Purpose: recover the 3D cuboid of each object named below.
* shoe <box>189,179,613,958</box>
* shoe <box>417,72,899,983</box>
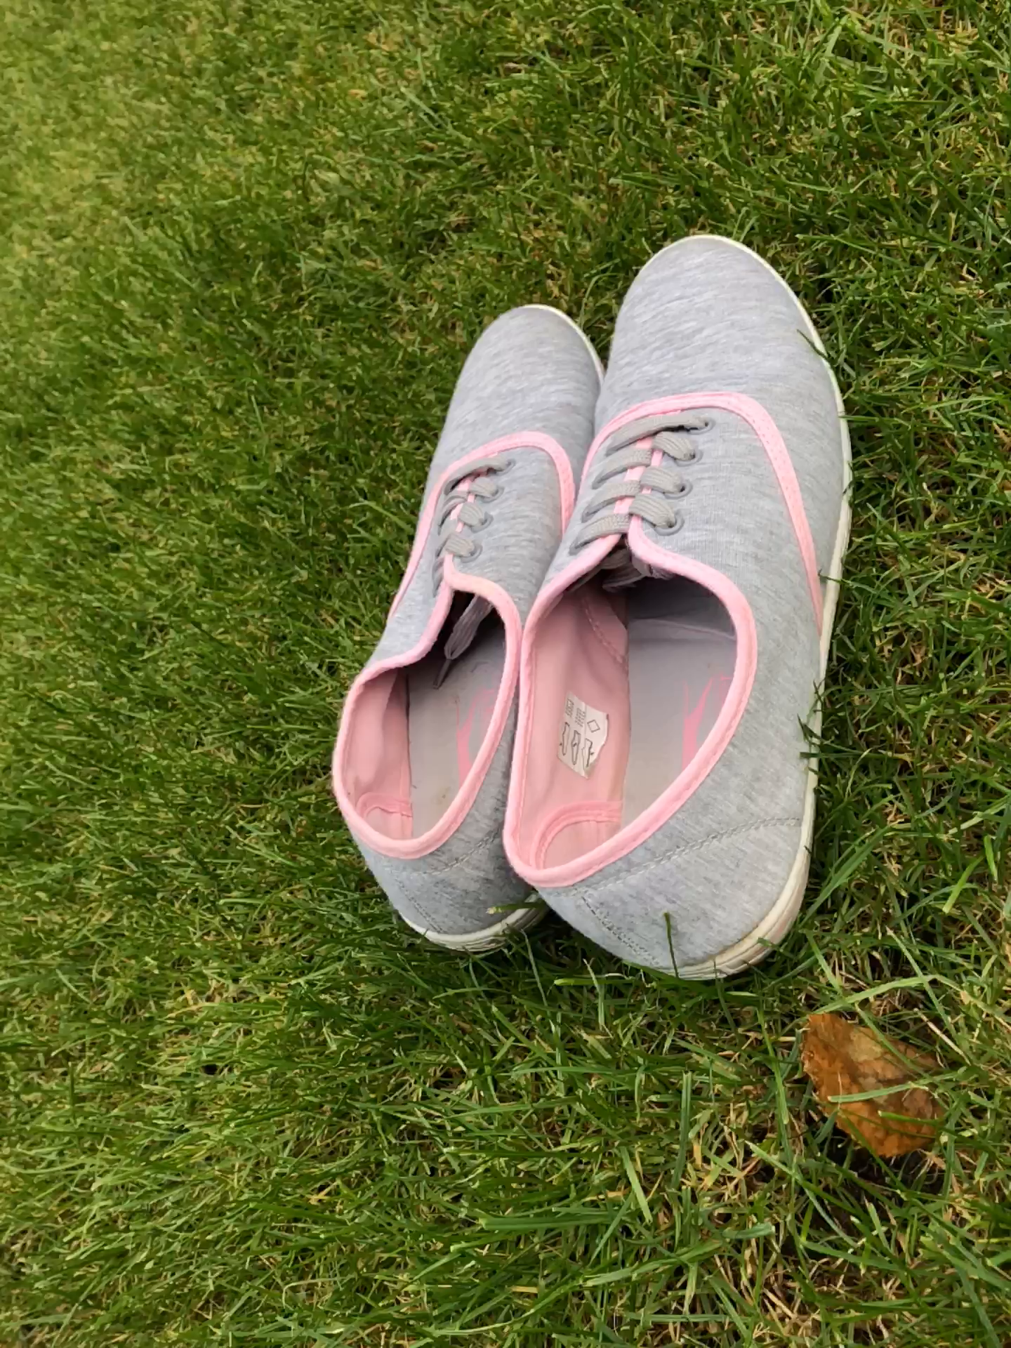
[{"bbox_3d":[-0.030,-0.035,0.419,0.100,0.090,0.261,-14,62,37],"label":"shoe"},{"bbox_3d":[0.050,-0.042,0.360,0.100,0.090,0.261,-14,62,37],"label":"shoe"}]
